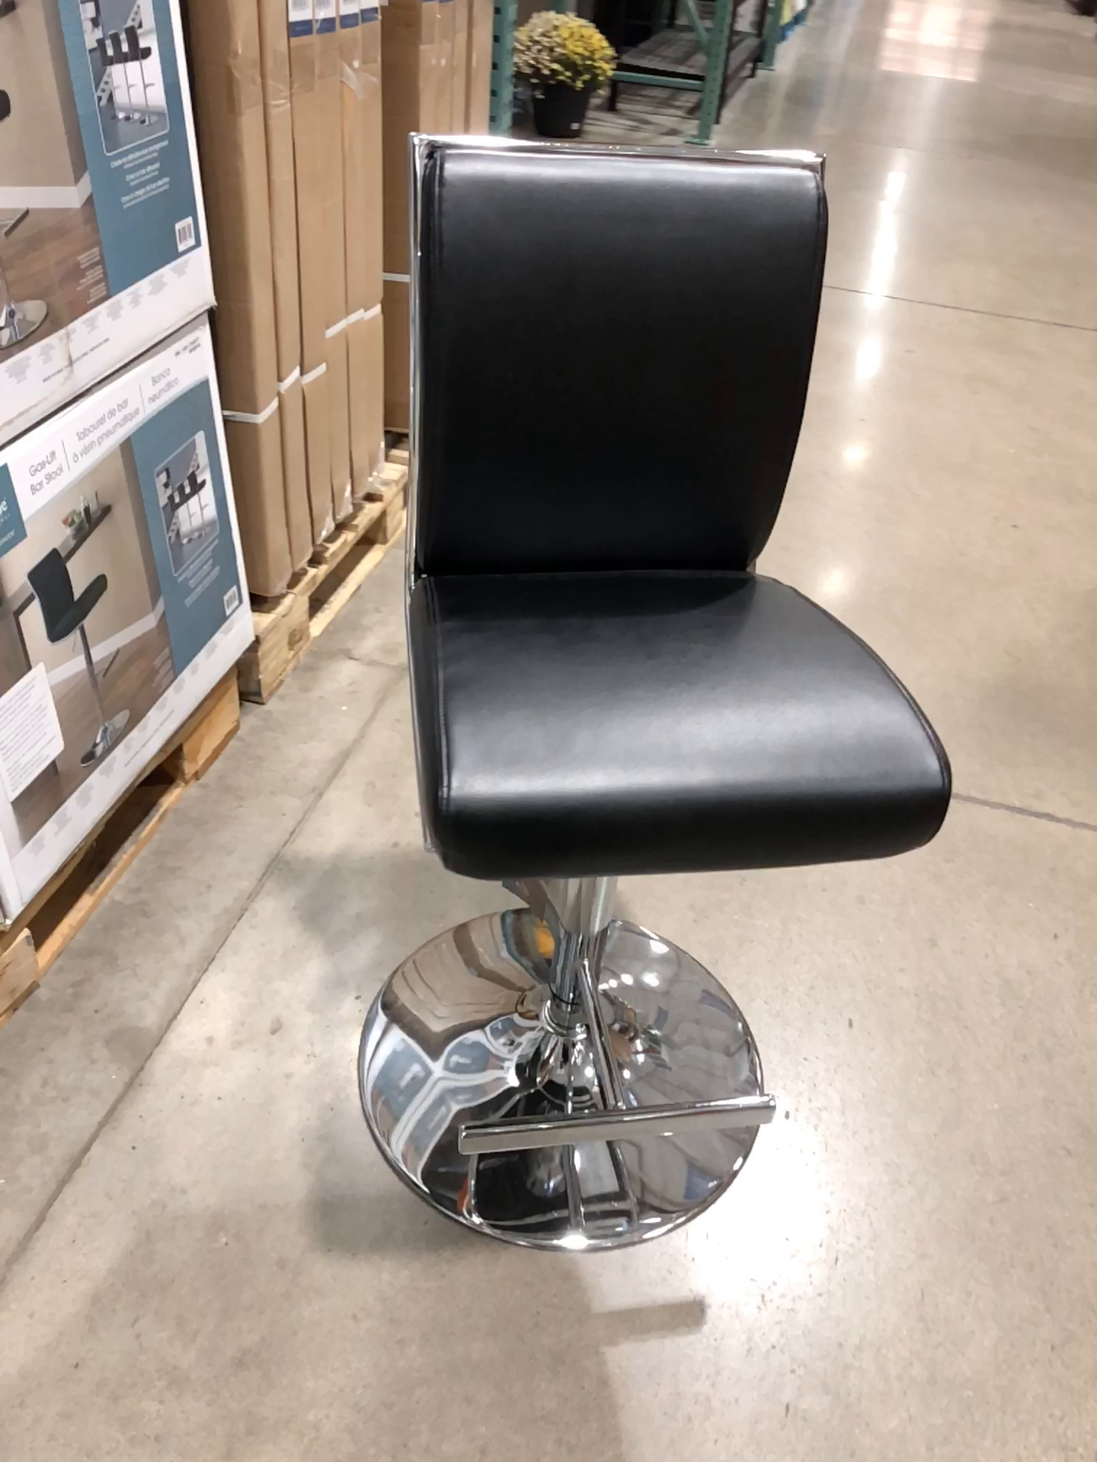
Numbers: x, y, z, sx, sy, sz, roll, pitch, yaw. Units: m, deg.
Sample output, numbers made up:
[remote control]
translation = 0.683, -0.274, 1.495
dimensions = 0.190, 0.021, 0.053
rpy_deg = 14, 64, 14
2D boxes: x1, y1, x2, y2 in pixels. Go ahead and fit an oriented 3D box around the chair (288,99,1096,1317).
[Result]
[chair]
translation = 0.056, -0.002, 1.139
dimensions = 0.530, 0.946, 0.542
rpy_deg = -4, 37, -14
